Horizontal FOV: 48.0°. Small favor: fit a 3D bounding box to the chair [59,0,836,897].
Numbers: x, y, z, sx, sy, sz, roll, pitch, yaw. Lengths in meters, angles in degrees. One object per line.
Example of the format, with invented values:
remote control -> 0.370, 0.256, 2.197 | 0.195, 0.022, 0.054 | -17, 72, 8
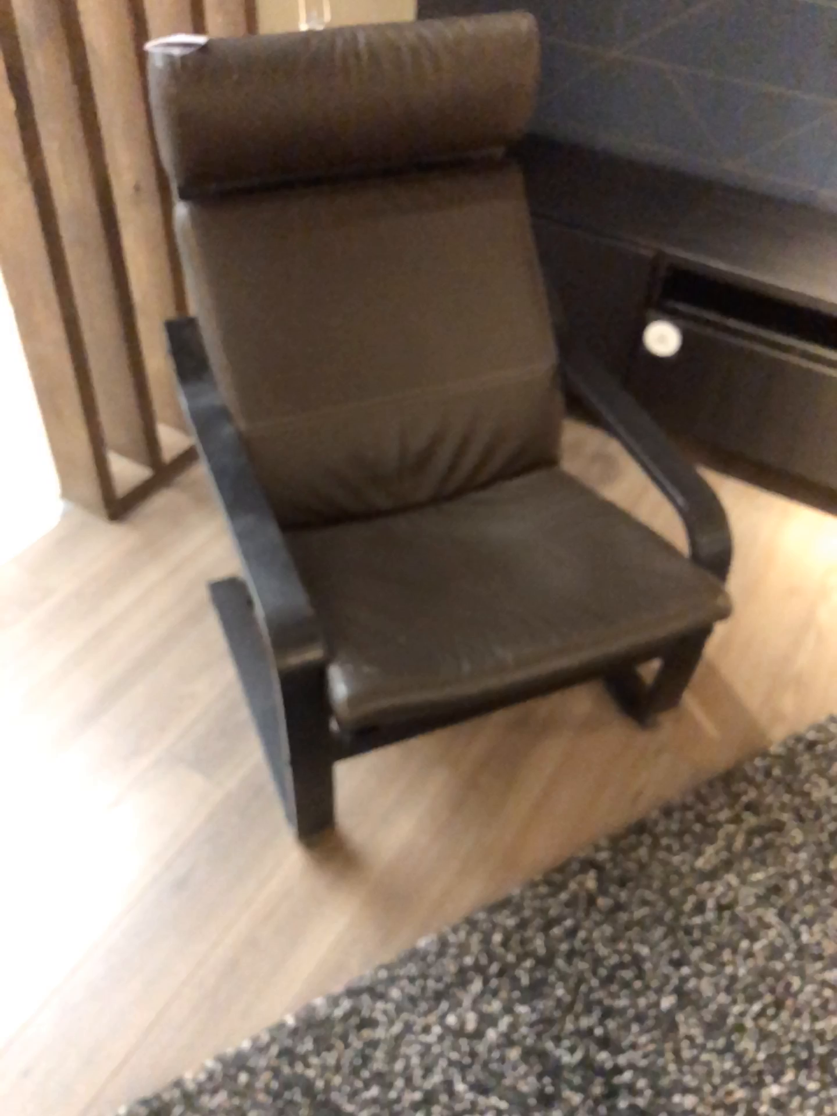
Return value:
chair -> 0.048, -0.191, 1.330 | 0.781, 0.876, 0.732 | -15, 47, -18
